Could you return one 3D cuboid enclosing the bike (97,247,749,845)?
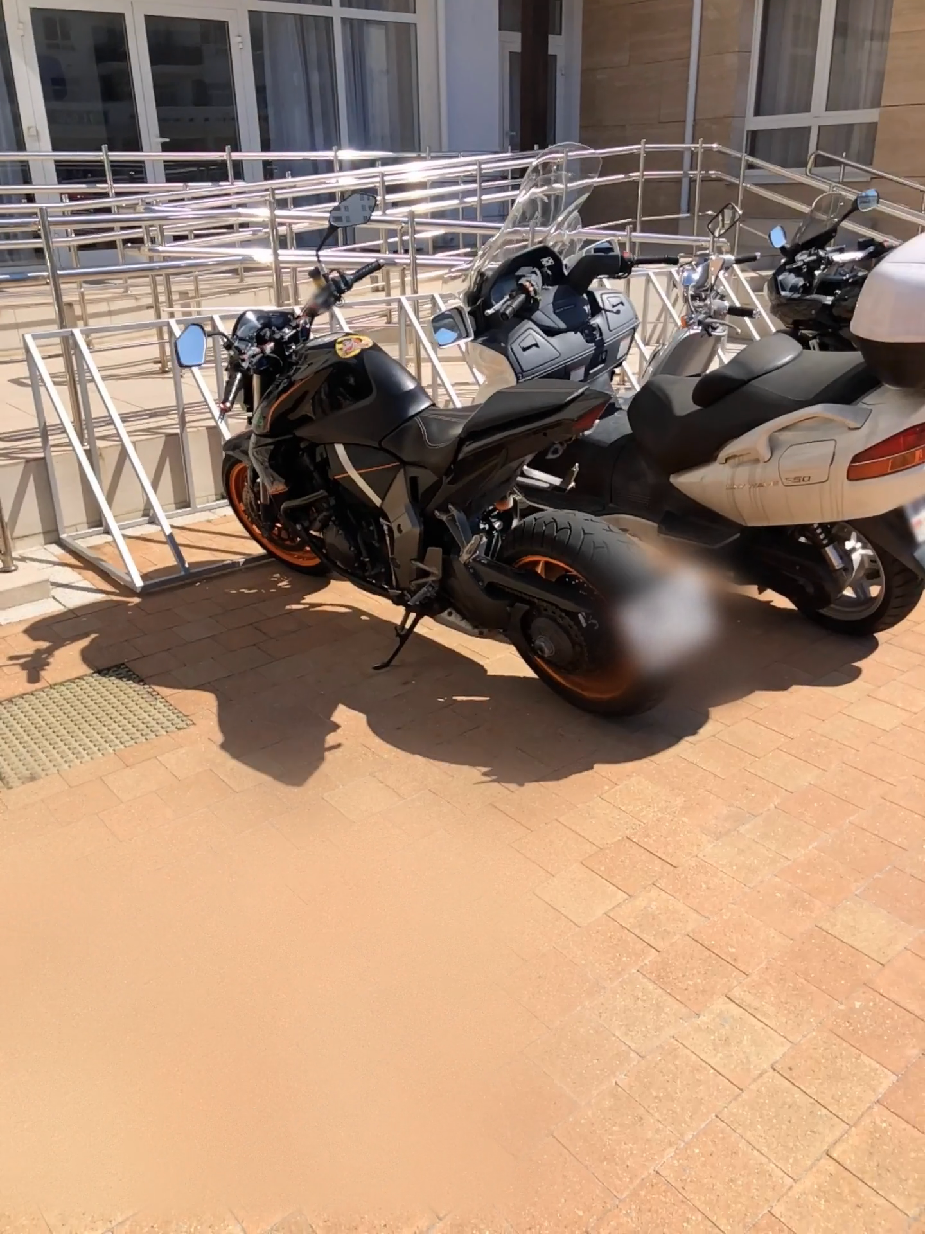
[{"bbox_3d":[-0.235,-0.422,3.031,0.797,1.170,1.954,-19,29,-37],"label":"bike"}]
